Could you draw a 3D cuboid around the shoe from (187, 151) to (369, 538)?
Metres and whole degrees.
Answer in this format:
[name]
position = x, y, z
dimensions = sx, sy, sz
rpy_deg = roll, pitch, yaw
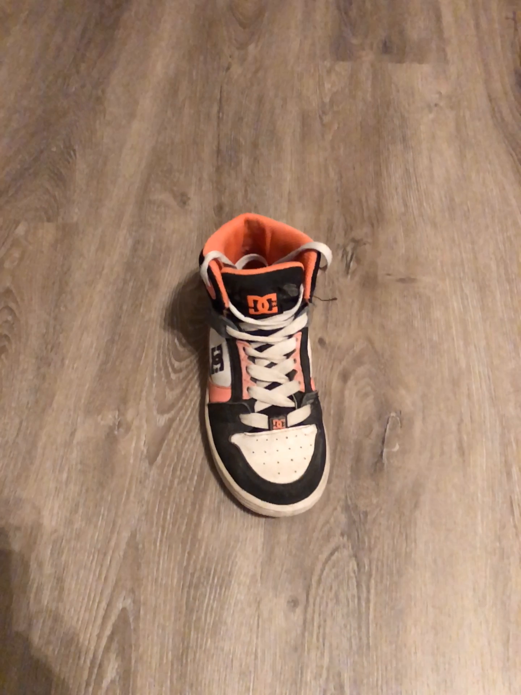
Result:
[shoe]
position = 0.002, -0.004, 0.422
dimensions = 0.090, 0.140, 0.241
rpy_deg = -4, 59, -2
